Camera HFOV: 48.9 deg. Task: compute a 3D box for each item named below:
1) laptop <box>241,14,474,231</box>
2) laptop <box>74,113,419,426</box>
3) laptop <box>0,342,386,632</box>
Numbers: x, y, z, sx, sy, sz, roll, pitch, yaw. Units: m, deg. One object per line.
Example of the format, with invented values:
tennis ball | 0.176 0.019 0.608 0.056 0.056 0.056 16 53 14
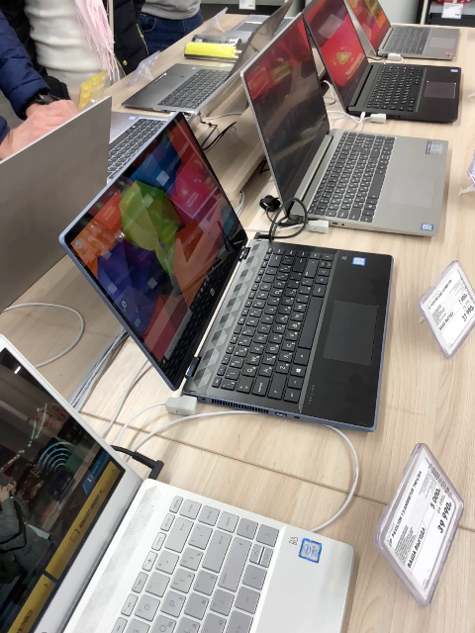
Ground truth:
laptop | 0.224 -0.370 0.948 0.329 0.218 0.353 13 44 14
laptop | 0.037 -0.084 0.671 0.326 0.194 0.327 10 44 11
laptop | -0.091 0.207 0.363 0.323 0.171 0.294 12 42 11
